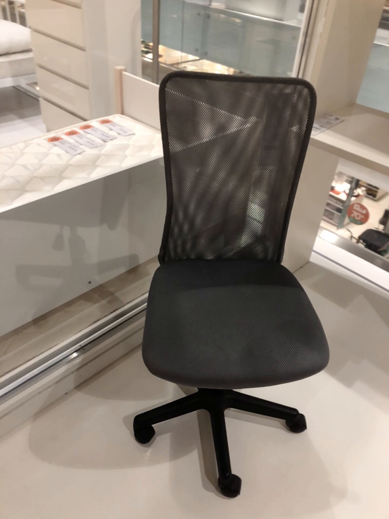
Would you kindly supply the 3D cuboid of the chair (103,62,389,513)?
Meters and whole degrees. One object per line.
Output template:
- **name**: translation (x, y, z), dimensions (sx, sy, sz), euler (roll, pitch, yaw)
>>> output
- **chair**: translation (0.115, 0.091, 1.084), dimensions (0.580, 0.933, 0.605), euler (0, 38, -7)
